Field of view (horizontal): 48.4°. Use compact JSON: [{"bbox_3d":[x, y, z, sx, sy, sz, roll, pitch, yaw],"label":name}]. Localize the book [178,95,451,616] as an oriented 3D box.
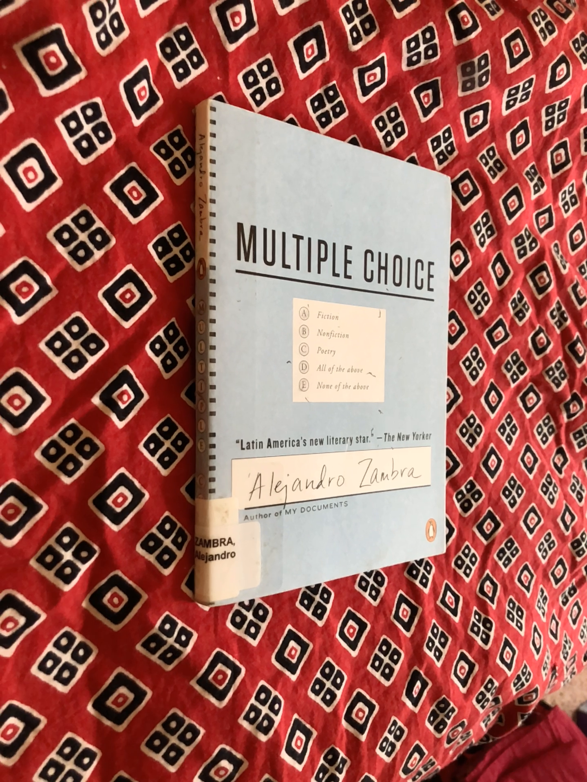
[{"bbox_3d":[0.016,-0.012,0.271,0.134,0.020,0.176,0,91,-40],"label":"book"}]
